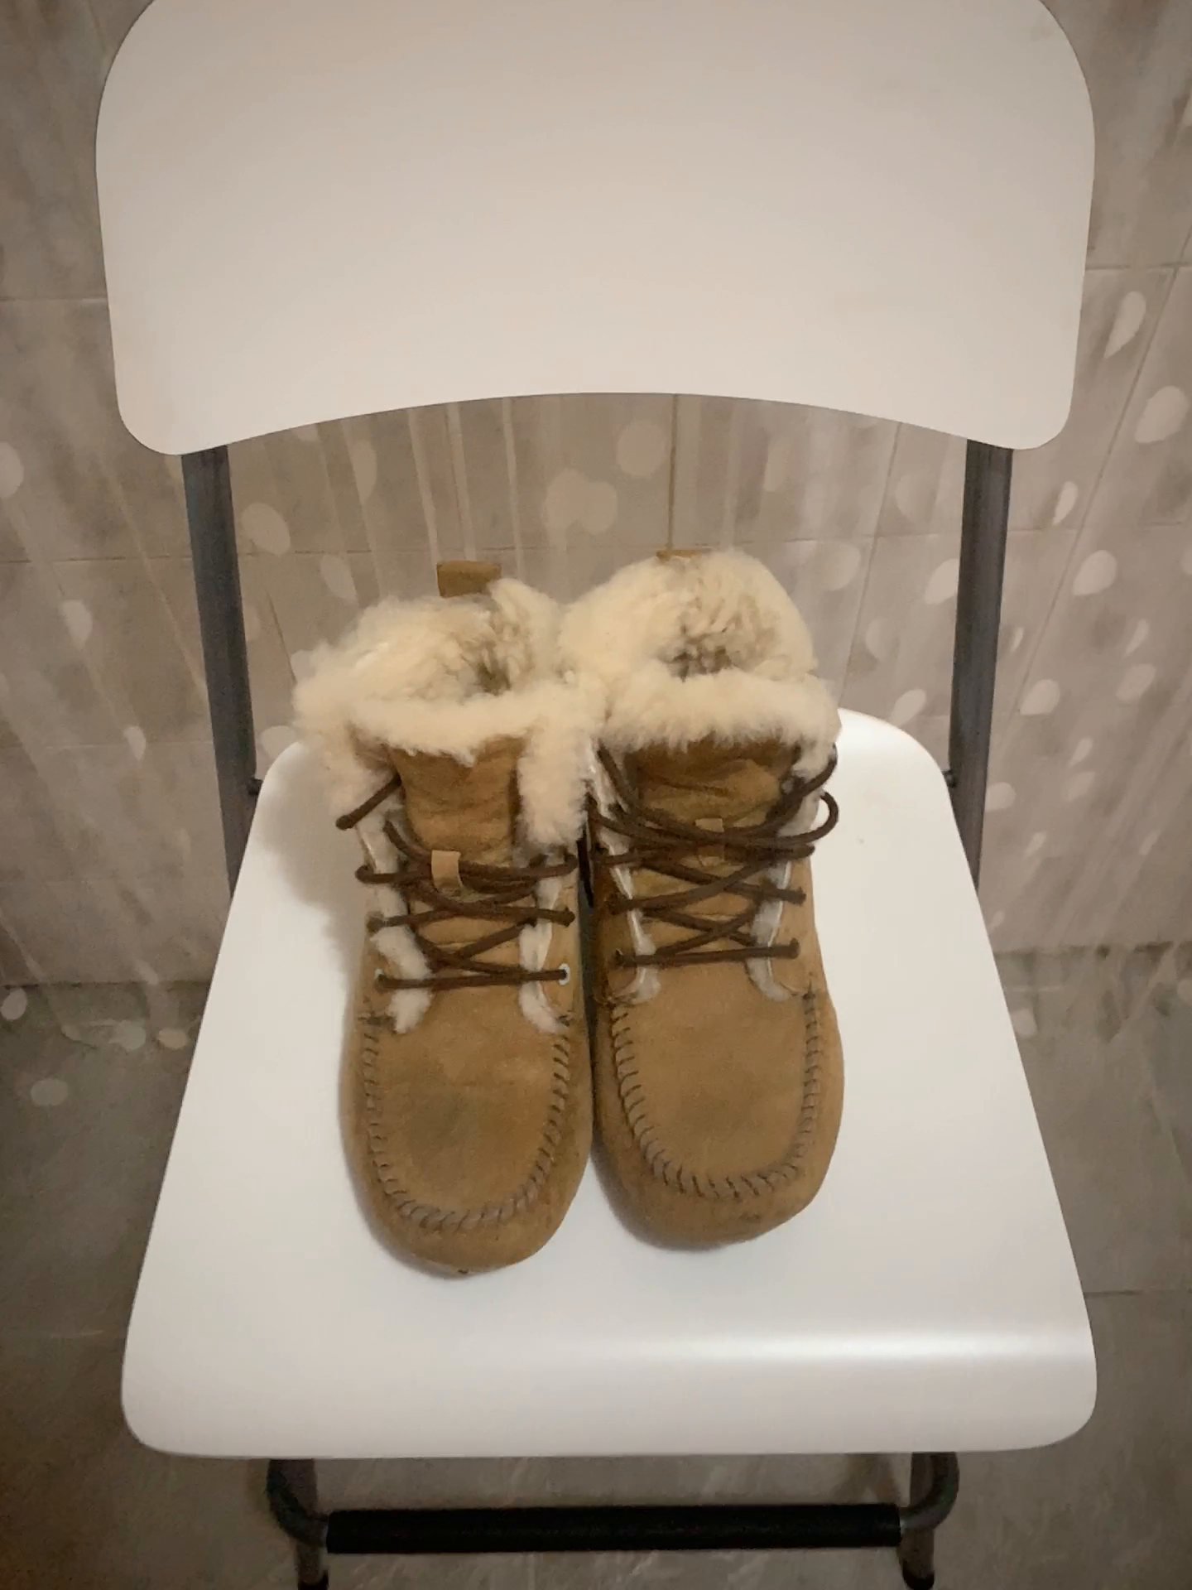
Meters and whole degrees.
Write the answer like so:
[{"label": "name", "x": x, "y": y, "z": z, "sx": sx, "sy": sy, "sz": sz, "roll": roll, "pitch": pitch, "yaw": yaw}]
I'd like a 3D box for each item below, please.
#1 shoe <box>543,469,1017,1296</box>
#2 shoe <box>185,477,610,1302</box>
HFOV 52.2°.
[{"label": "shoe", "x": 0.044, "y": 0.026, "z": 0.446, "sx": 0.113, "sy": 0.157, "sz": 0.253, "roll": -3, "pitch": 52, "yaw": -1}, {"label": "shoe", "x": -0.056, "y": 0.029, "z": 0.445, "sx": 0.106, "sy": 0.155, "sz": 0.253, "roll": -3, "pitch": 52, "yaw": -1}]
